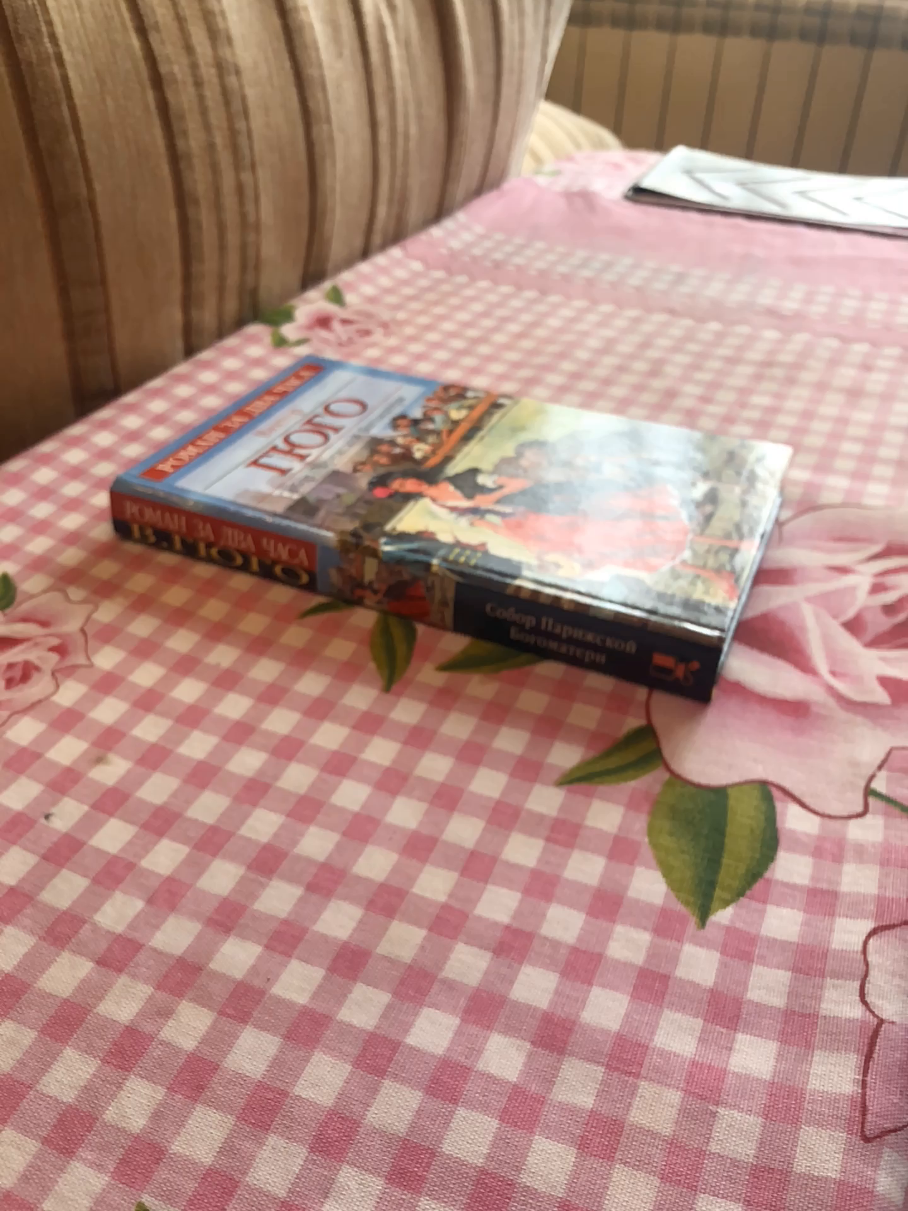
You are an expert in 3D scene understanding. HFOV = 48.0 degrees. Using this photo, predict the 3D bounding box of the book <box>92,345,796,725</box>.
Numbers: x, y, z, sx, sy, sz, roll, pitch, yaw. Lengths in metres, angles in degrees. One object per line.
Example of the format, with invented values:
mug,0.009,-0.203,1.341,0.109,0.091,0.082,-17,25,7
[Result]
book,0.003,-0.039,0.361,0.207,0.027,0.137,15,37,18
